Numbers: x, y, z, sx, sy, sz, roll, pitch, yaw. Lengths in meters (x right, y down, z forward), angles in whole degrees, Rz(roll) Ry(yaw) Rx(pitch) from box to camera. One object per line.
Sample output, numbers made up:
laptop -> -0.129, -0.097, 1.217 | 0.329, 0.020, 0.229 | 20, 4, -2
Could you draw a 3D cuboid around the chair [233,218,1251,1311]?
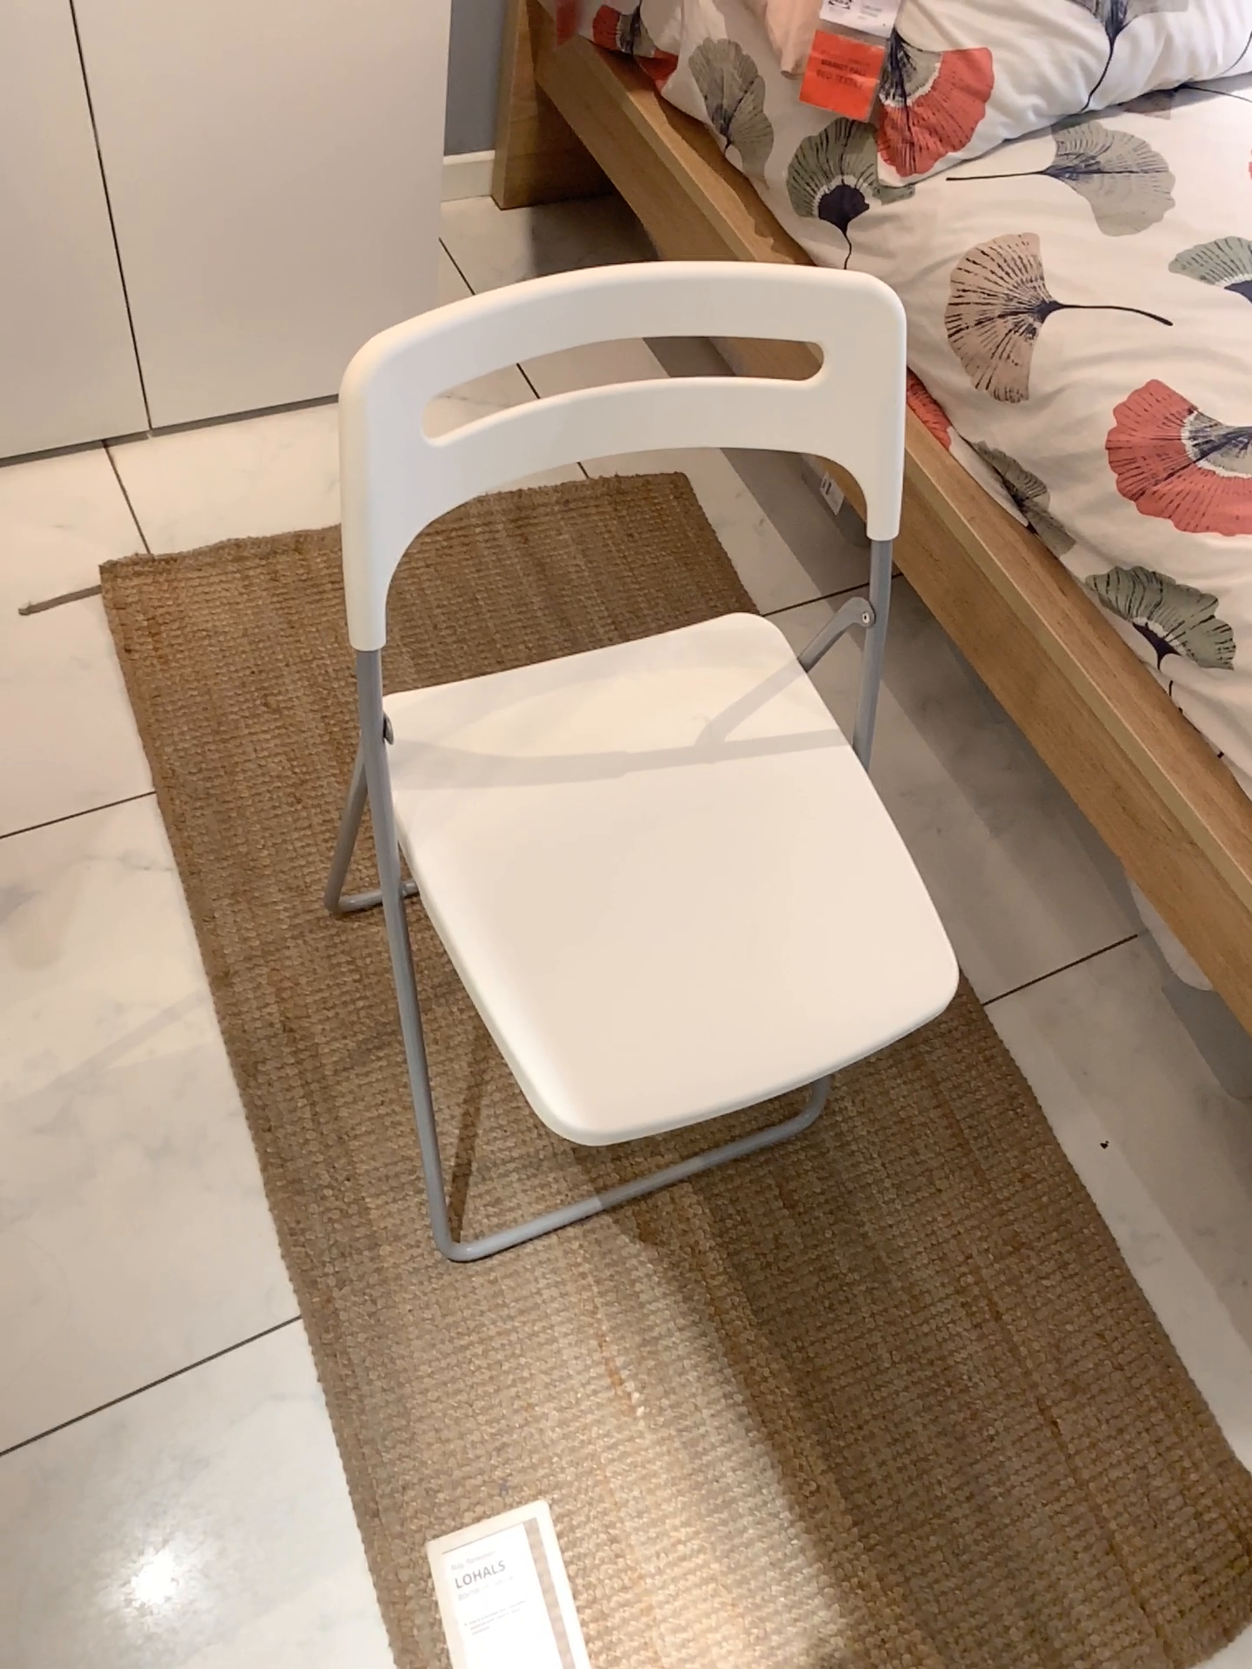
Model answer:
chair -> 0.019, -0.004, 0.949 | 0.450, 0.659, 0.430 | -15, 63, -19
